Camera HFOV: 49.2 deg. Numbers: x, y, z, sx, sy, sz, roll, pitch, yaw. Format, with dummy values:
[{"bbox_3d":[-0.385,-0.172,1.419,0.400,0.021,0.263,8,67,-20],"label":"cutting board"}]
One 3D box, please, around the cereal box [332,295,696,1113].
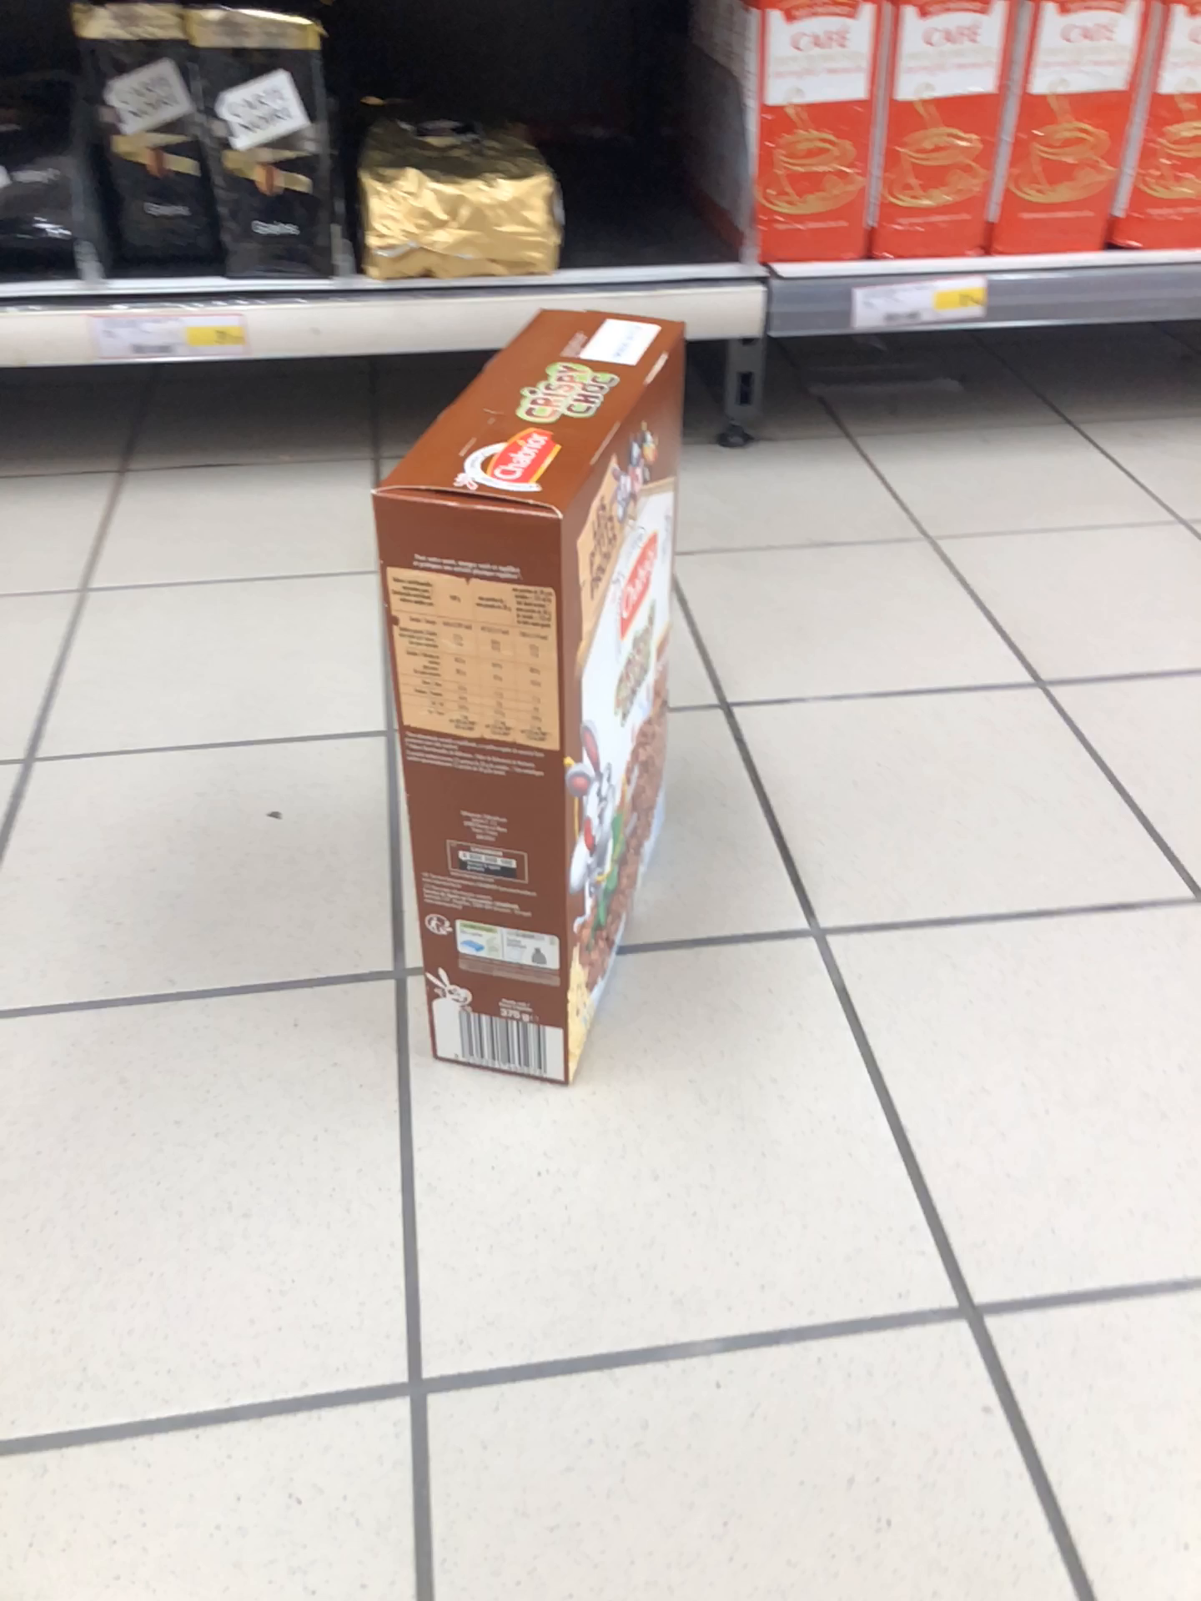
[{"bbox_3d":[-0.022,-0.044,0.557,0.070,0.268,0.211,9,37,12],"label":"cereal box"}]
